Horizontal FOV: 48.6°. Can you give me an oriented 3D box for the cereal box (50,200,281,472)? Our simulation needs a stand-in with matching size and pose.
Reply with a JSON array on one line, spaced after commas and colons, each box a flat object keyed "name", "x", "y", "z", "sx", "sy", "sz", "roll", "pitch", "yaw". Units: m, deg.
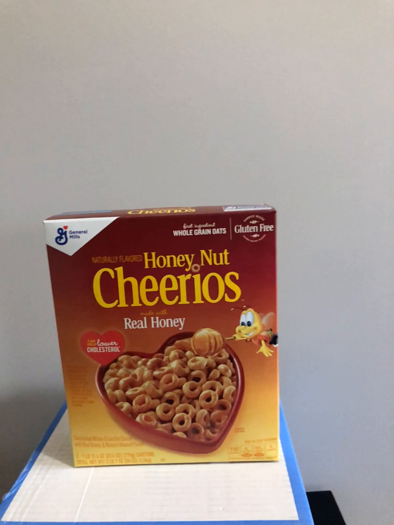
[{"name": "cereal box", "x": -0.027, "y": 0.089, "z": 0.530, "sx": 0.240, "sy": 0.309, "sz": 0.080, "roll": -3, "pitch": 12, "yaw": 2}]
